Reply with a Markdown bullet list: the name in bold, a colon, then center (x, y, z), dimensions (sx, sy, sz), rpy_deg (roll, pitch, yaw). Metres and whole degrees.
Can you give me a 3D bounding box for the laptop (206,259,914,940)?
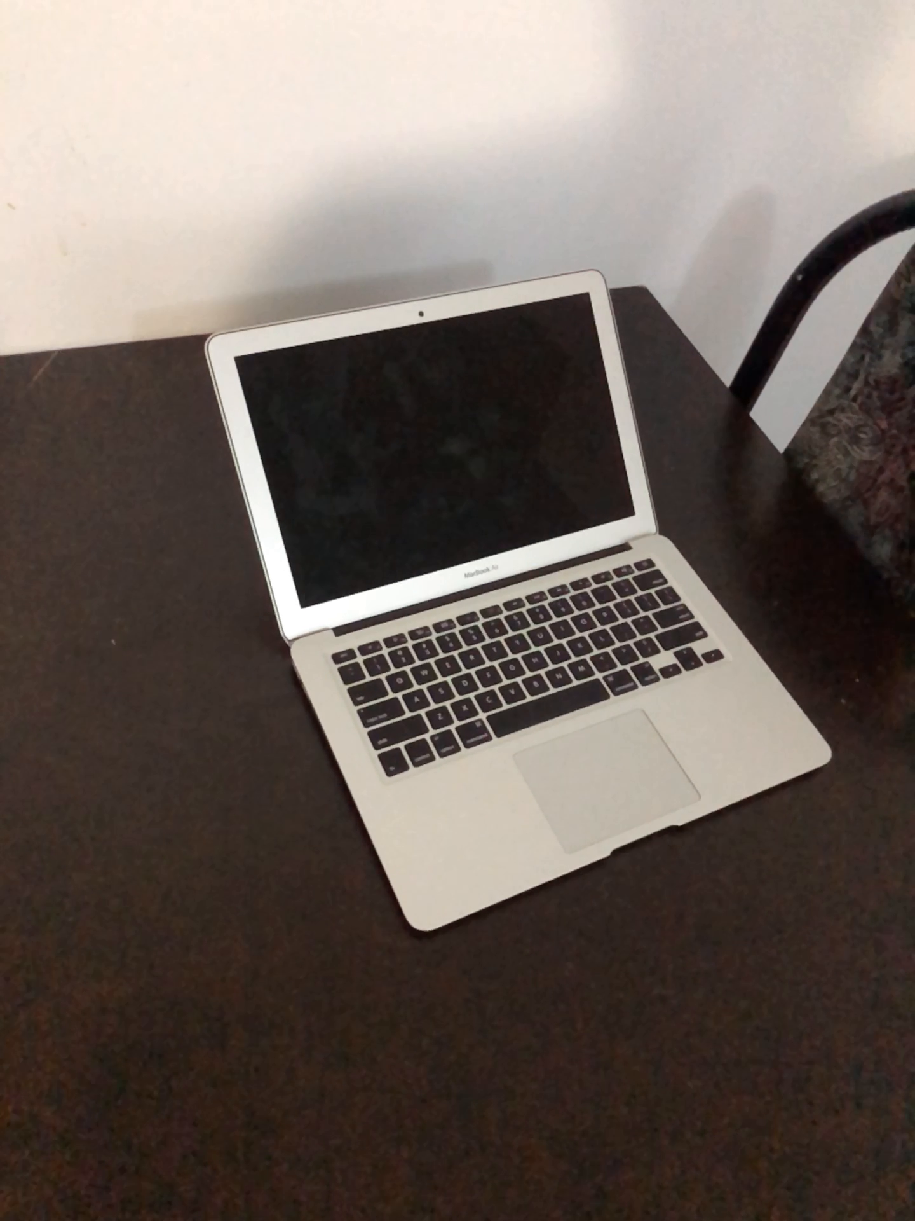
- **laptop**: center (0.045, -0.041, 0.643), dimensions (0.303, 0.136, 0.362), rpy_deg (-17, 55, -21)
